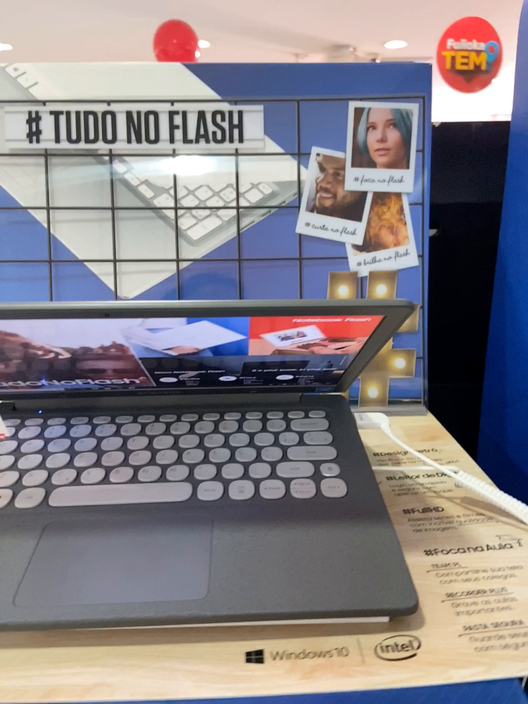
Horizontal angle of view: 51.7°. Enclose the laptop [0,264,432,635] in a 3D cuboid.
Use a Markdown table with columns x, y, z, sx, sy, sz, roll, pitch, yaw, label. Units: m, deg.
| x | y | z | sx | sy | sz | roll | pitch | yaw | label |
| --- | --- | --- | --- | --- | --- | --- | --- | --- | --- |
| -0.088 | 0.035 | 0.357 | 0.323 | 0.114 | 0.211 | -2 | 24 | -2 | laptop |
